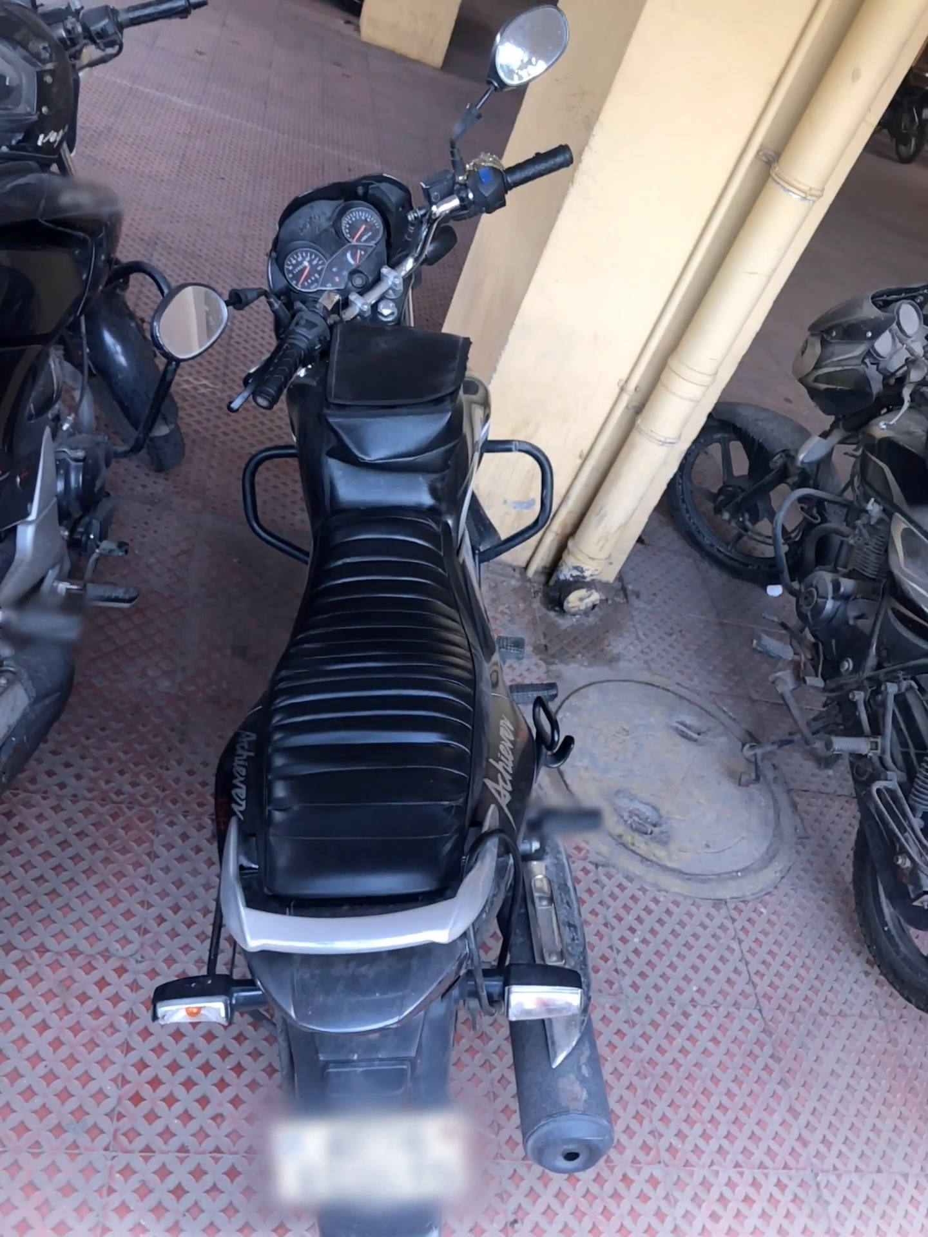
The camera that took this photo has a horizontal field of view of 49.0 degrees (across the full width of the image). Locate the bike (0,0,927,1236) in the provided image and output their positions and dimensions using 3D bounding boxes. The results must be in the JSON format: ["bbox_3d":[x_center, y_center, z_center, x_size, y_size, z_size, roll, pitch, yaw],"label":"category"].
[{"bbox_3d":[-0.275,-0.155,1.644,0.732,1.125,1.767,9,40,-20],"label":"bike"}]
